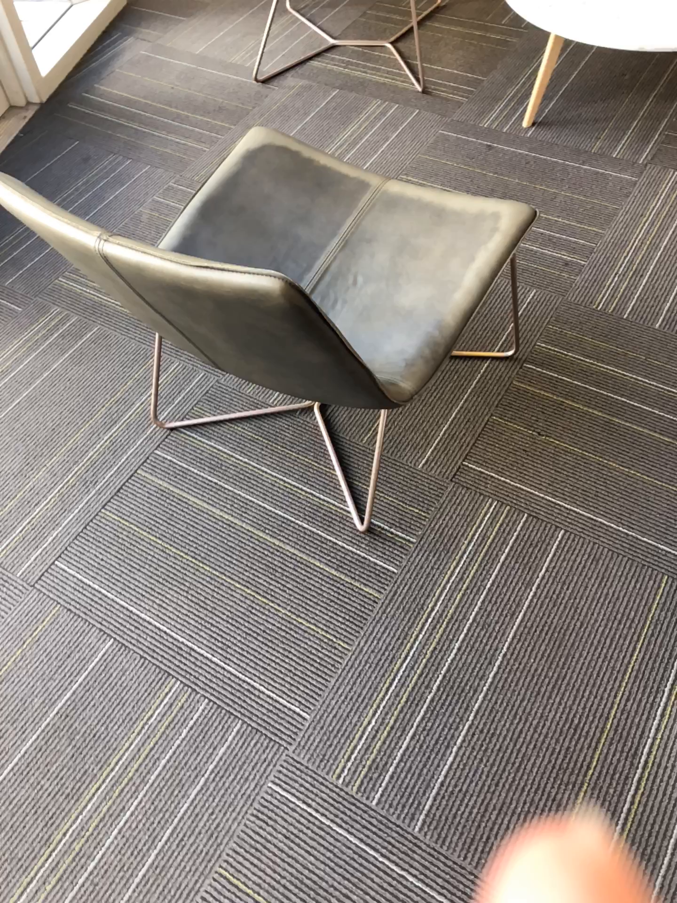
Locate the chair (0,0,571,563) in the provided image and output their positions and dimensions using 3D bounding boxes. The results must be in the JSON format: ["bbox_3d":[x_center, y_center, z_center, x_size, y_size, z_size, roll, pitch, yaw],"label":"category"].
[{"bbox_3d":[-0.072,-0.379,1.404,0.671,0.877,0.651,25,66,22],"label":"chair"}]
